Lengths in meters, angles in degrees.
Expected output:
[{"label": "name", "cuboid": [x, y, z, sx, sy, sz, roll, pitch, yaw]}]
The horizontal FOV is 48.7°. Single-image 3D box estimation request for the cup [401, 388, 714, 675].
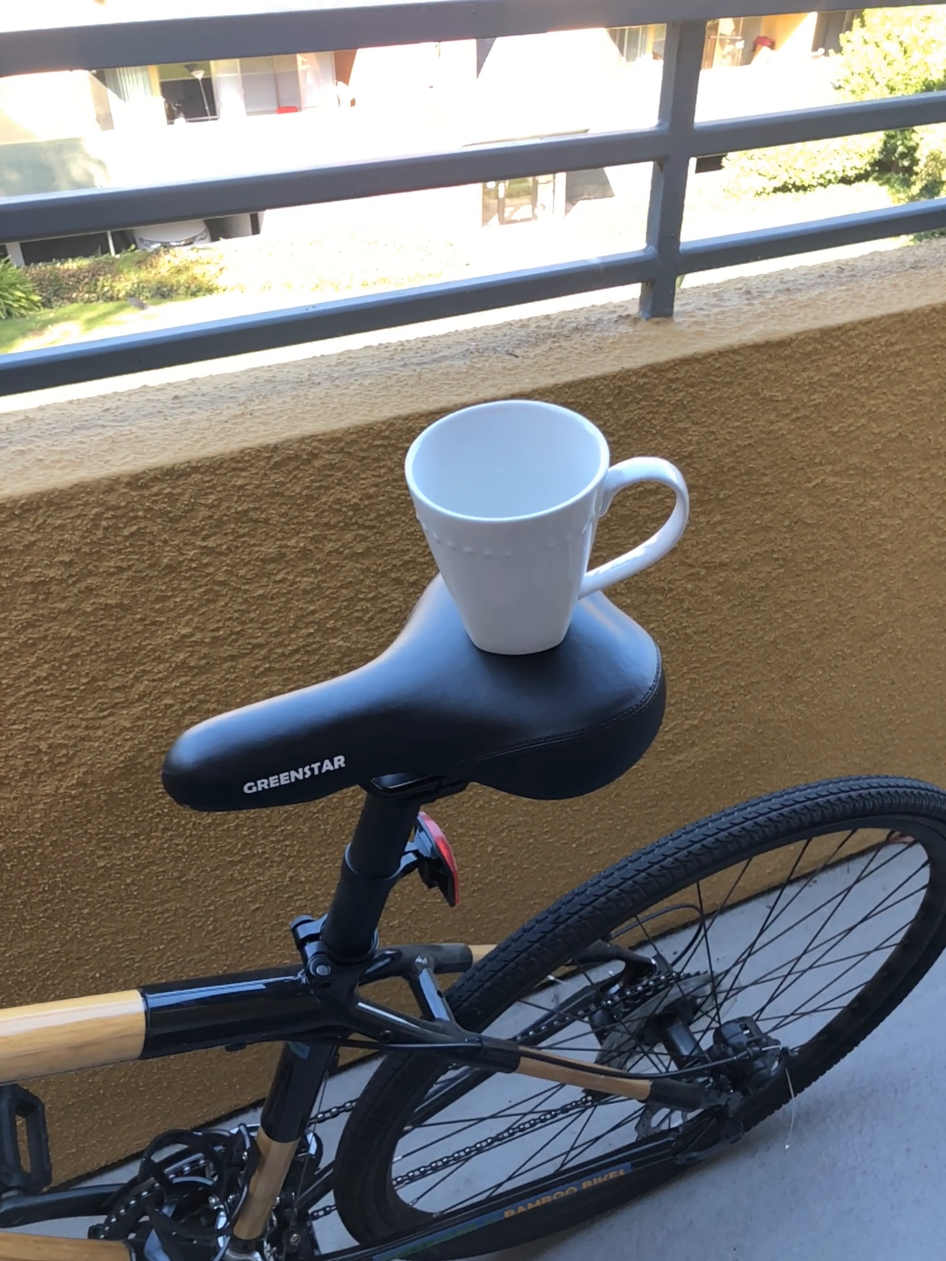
[{"label": "cup", "cuboid": [0.035, -0.051, 0.517, 0.130, 0.100, 0.090, -5, 39, -6]}]
